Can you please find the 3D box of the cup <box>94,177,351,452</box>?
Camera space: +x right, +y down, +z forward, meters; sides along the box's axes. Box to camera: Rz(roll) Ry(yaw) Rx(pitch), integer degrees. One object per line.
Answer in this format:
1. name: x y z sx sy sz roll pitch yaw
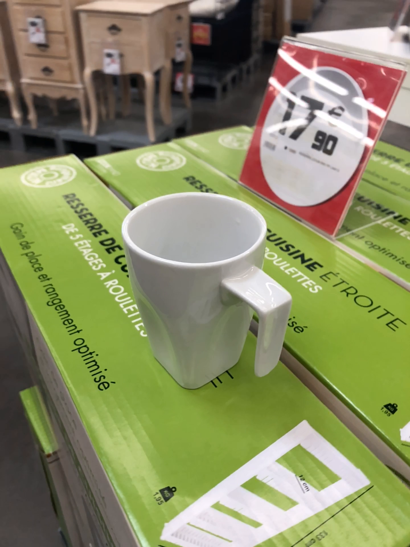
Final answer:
1. cup: 0.003 0.014 0.262 0.083 0.087 0.111 -22 42 -30
